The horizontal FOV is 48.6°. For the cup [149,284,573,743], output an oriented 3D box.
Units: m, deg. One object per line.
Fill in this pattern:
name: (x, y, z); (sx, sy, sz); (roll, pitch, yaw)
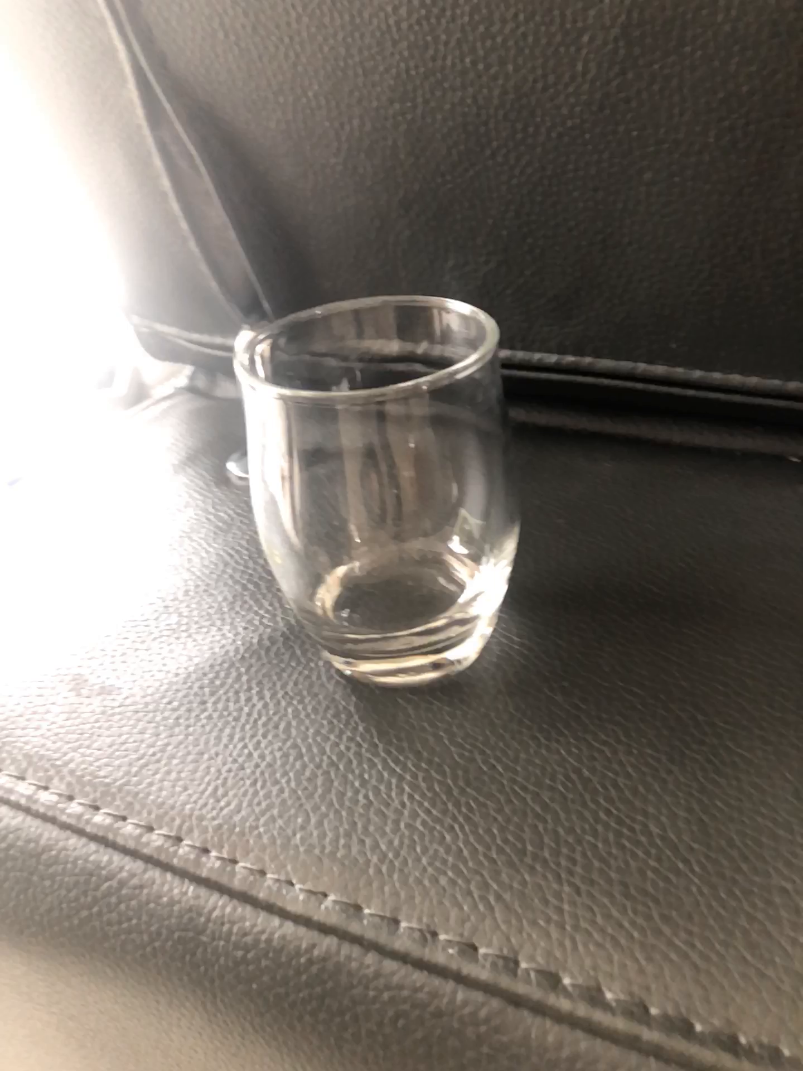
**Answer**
cup: (-0.005, -0.013, 0.259); (0.080, 0.089, 0.080); (-5, 32, 3)
